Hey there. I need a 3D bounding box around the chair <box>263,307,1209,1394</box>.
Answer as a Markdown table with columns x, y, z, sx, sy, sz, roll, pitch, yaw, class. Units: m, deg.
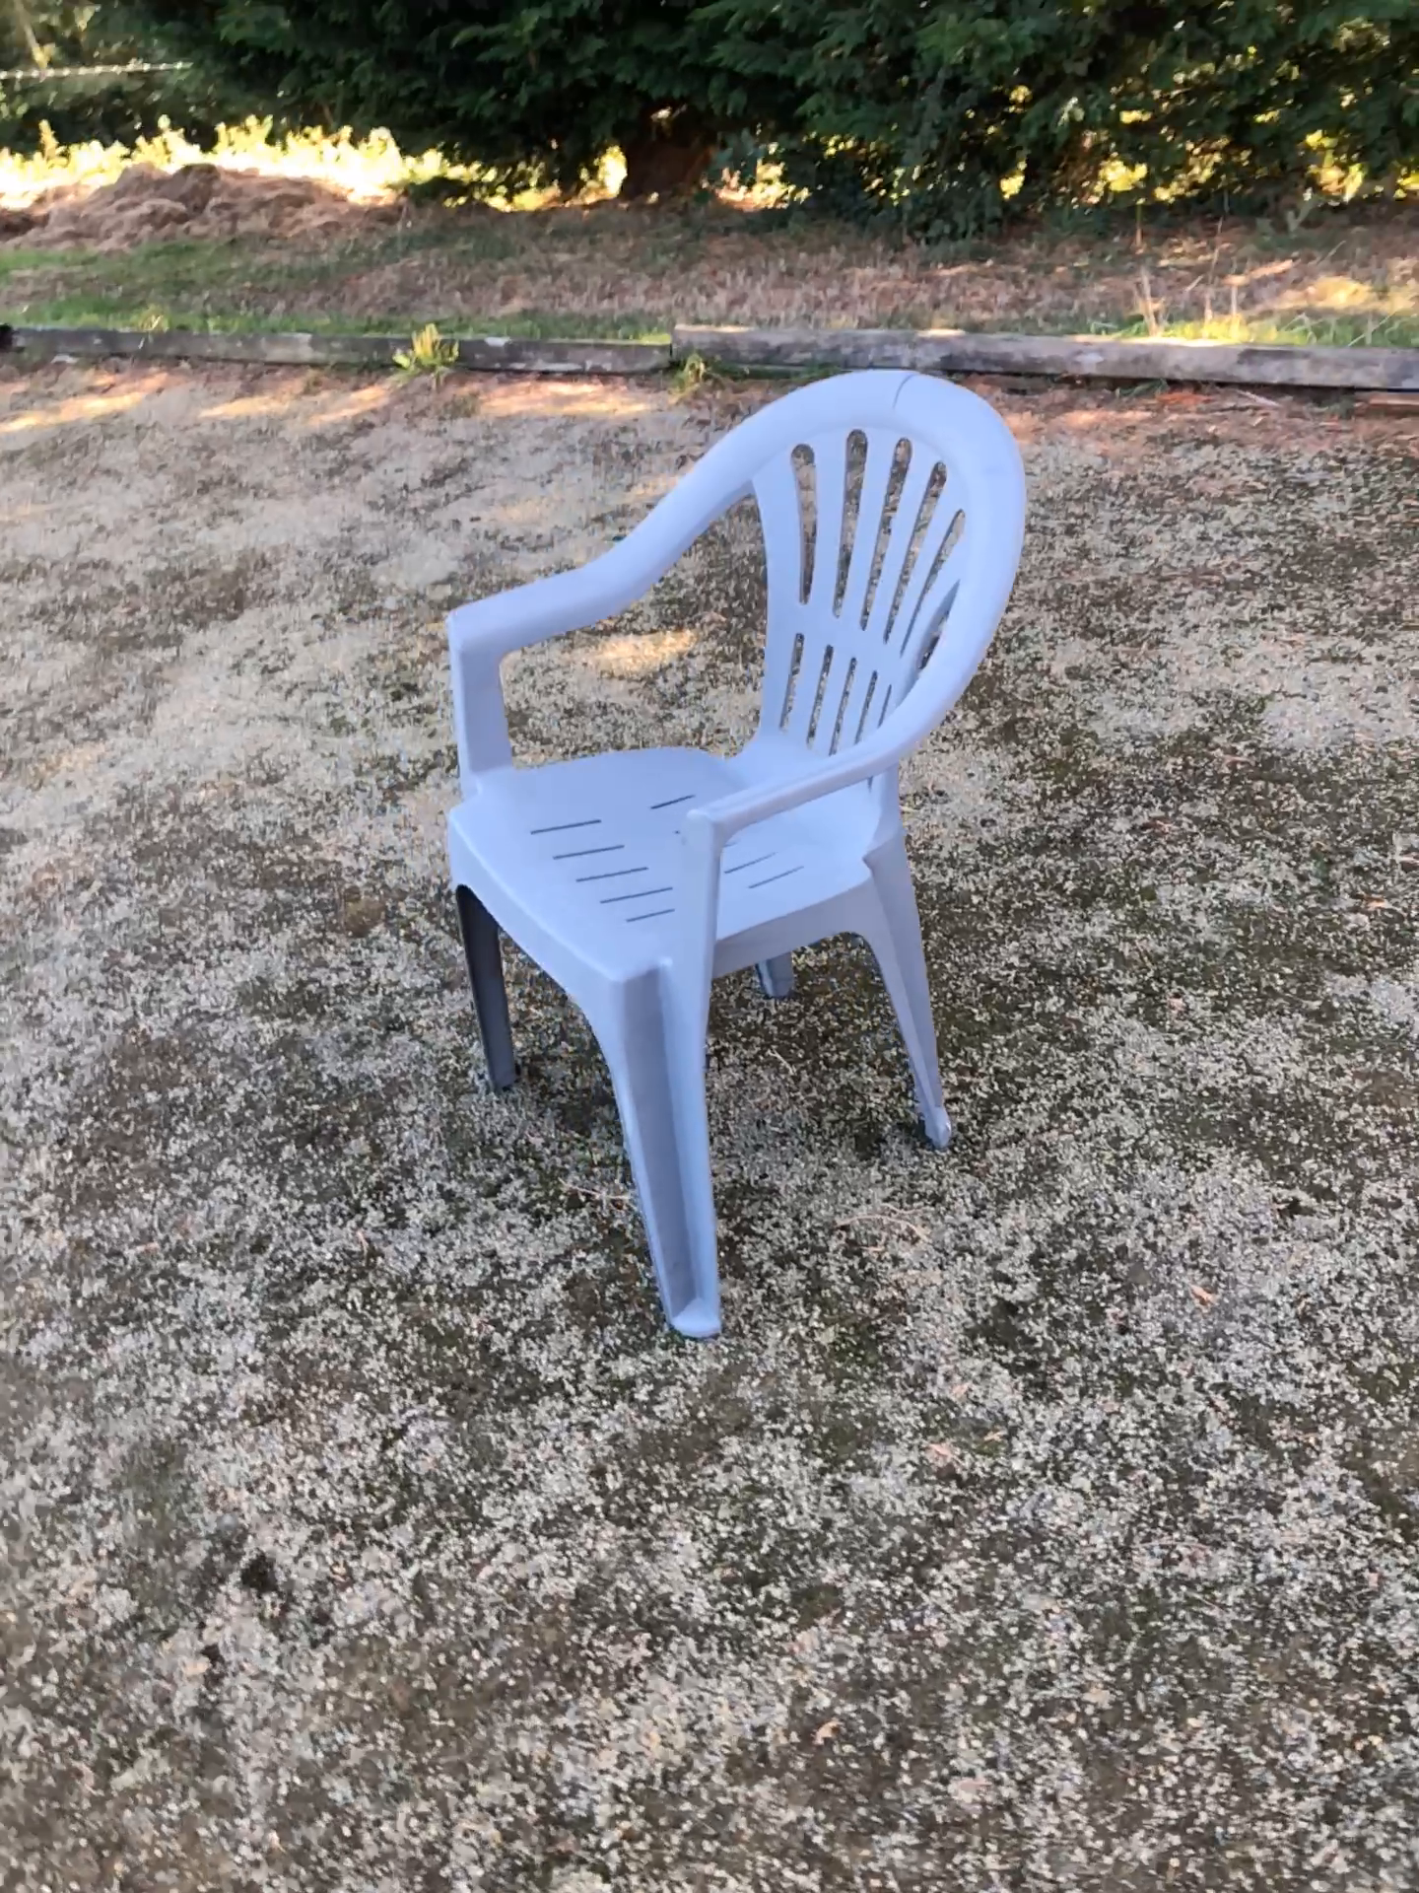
| x | y | z | sx | sy | sz | roll | pitch | yaw | class |
| --- | --- | --- | --- | --- | --- | --- | --- | --- | --- |
| 0.020 | -0.141 | 1.611 | 0.622 | 0.775 | 0.632 | -21 | 38 | -20 | chair |
